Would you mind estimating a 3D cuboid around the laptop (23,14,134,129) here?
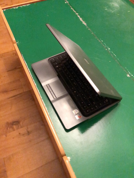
[{"bbox_3d":[0.027,-0.073,0.525,0.227,0.171,0.317,-25,63,-16],"label":"laptop"}]
